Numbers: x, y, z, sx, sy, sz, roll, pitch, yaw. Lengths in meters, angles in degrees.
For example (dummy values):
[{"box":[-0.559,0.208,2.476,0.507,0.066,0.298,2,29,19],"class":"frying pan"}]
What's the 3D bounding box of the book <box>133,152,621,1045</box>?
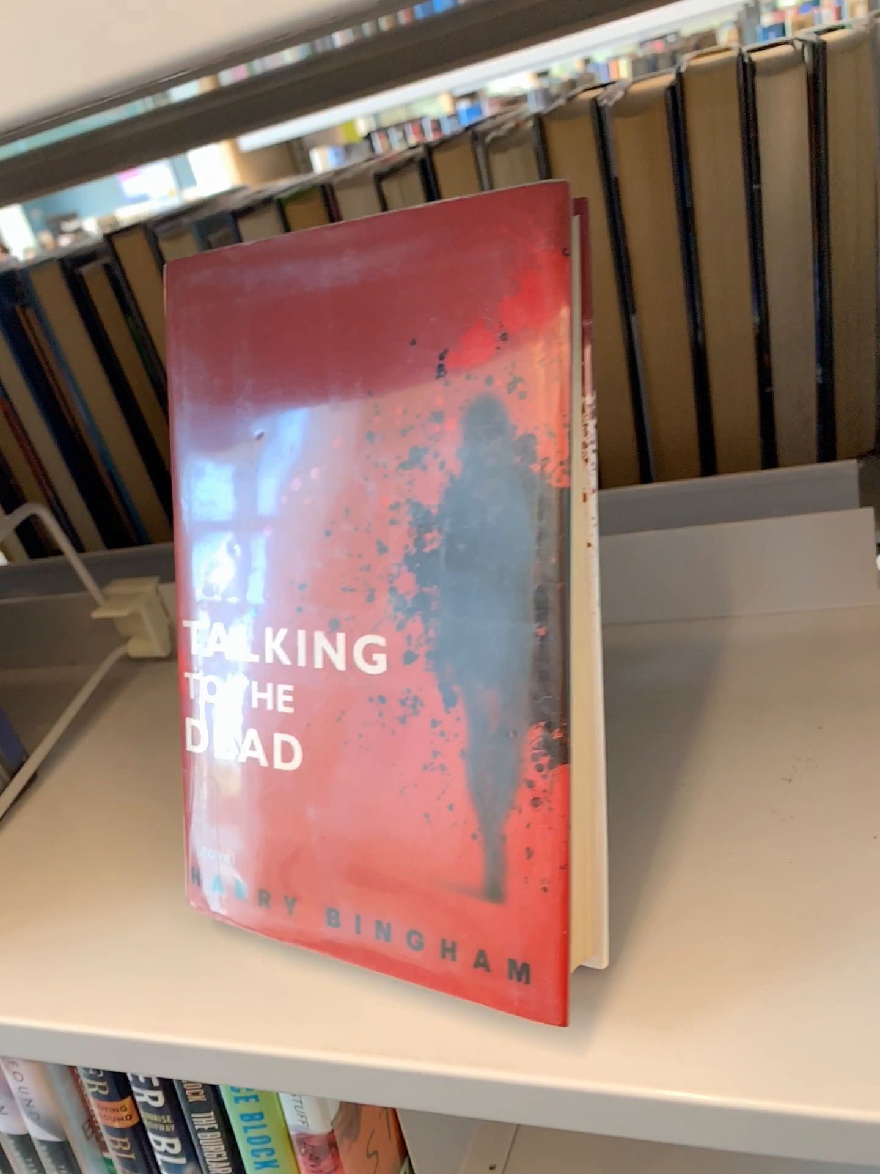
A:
[{"box":[-0.026,0.002,0.298,0.164,0.231,0.040,2,4,33],"class":"book"}]
